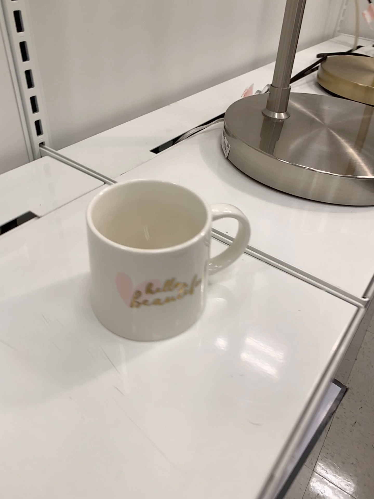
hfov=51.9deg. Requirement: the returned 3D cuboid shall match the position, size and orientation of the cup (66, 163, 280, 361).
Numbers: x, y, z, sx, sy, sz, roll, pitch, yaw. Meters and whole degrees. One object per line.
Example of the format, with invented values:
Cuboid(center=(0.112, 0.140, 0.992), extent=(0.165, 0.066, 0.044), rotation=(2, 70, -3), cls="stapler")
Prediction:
Cuboid(center=(-0.017, 0.005, 0.330), extent=(0.140, 0.097, 0.105), rotation=(-13, 45, -17), cls="cup")
